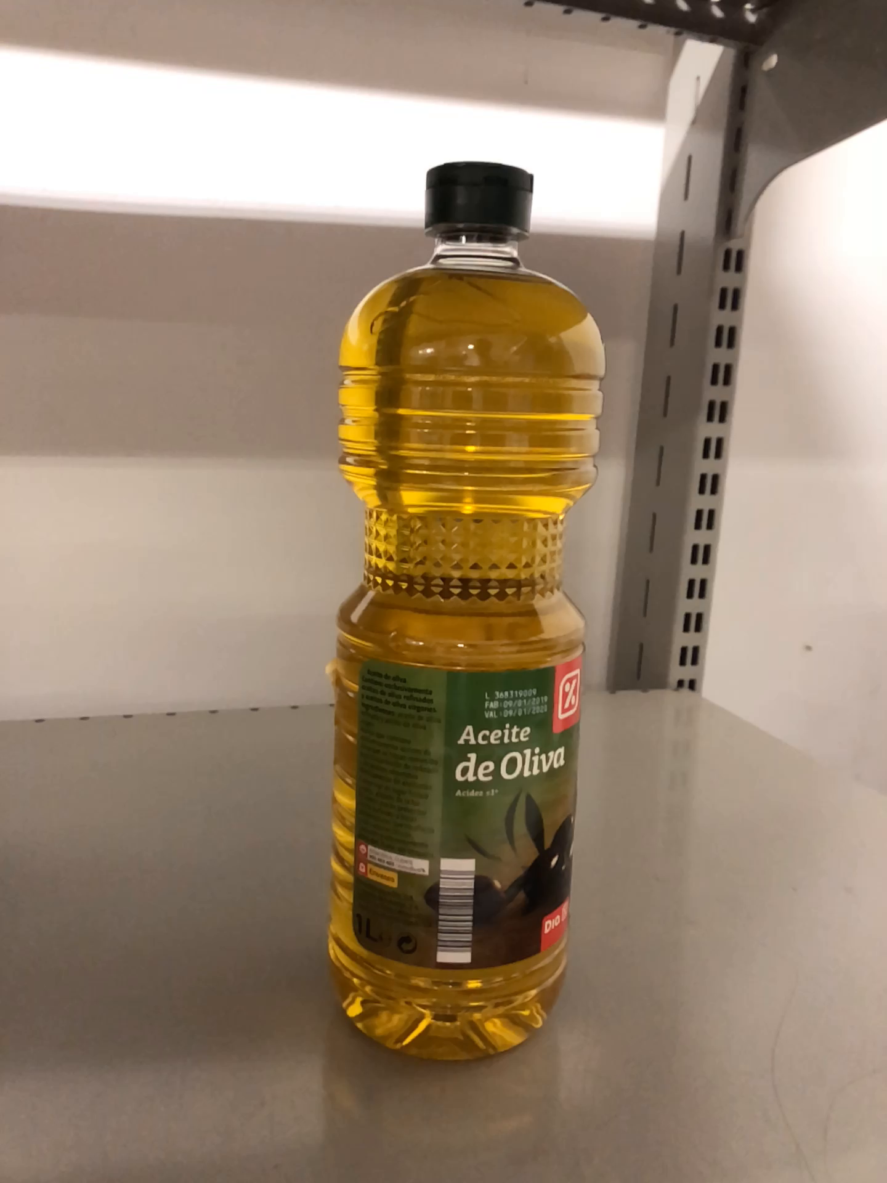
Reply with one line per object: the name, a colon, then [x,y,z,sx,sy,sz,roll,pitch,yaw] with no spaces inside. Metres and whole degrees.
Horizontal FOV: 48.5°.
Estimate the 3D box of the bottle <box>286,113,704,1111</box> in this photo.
bottle: [0.009,0.009,0.285,0.080,0.249,0.060,-3,14,-33]
